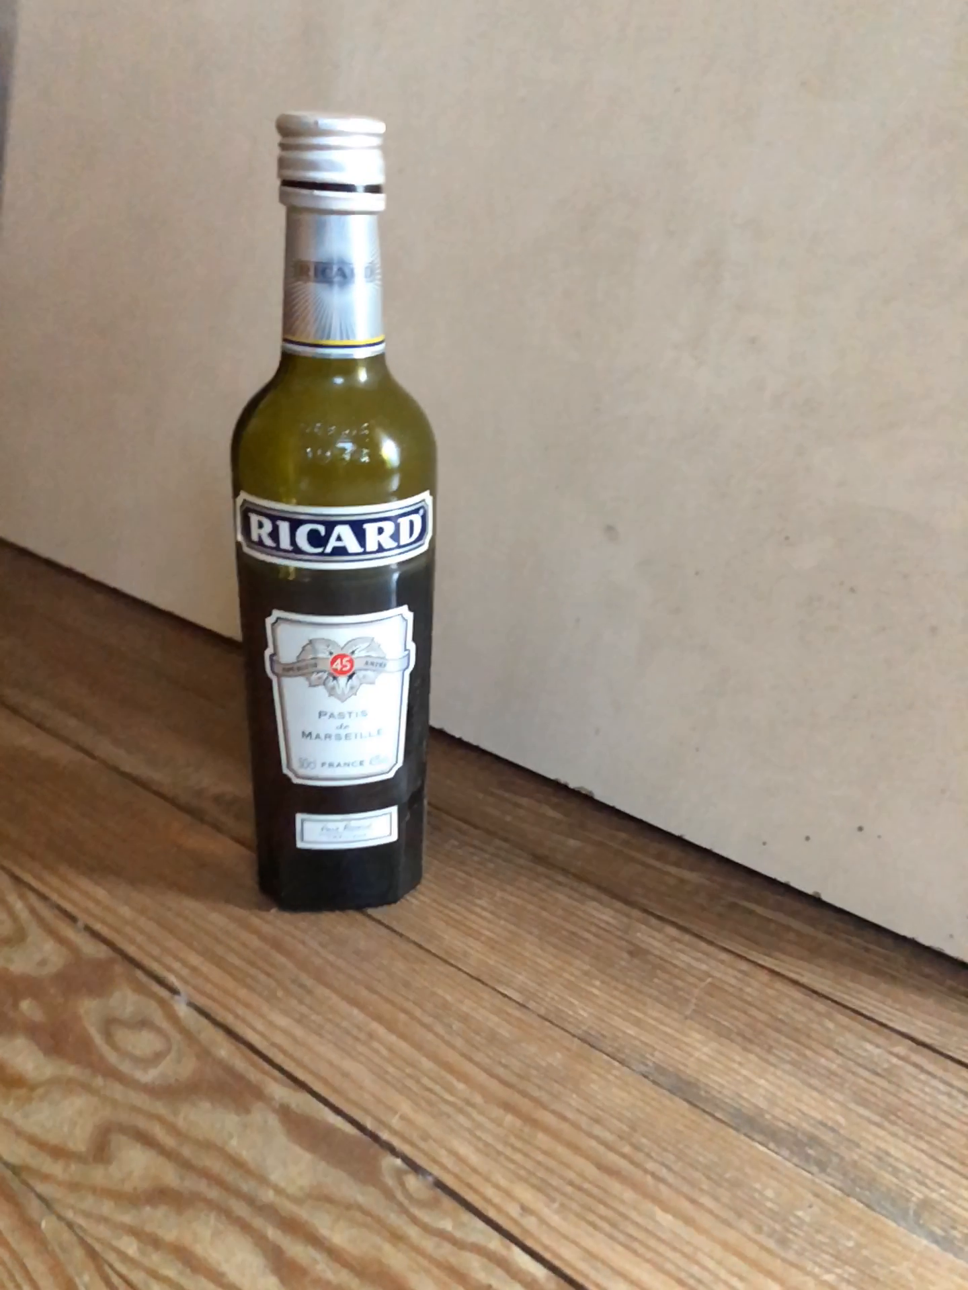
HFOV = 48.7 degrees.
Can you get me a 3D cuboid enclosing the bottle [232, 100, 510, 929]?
[{"bbox_3d":[-0.039,-0.032,0.351,0.070,0.258,0.060,-2,26,-10],"label":"bottle"}]
